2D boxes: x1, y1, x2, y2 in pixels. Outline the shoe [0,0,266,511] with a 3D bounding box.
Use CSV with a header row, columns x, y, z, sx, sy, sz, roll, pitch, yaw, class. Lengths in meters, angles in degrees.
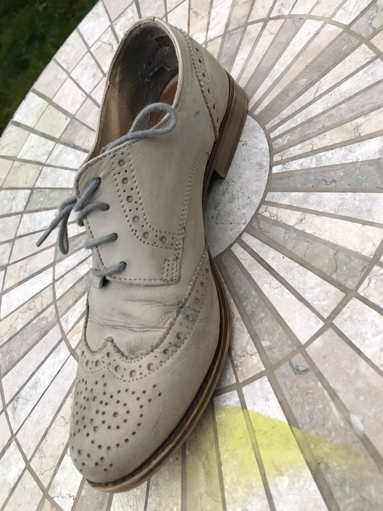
x,y,z,sx,sy,sz,roll,pitch,yaw,class
-0.029,-0.013,0.239,0.090,0.079,0.257,-6,66,38,shoe
